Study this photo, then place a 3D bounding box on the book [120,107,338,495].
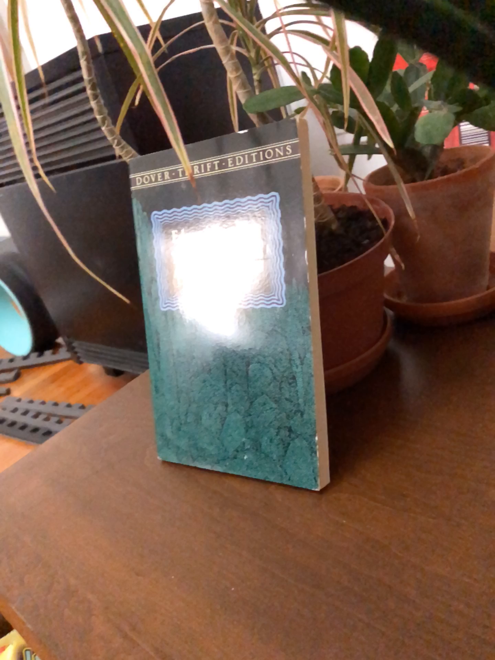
[{"bbox_3d":[-0.016,-0.014,0.345,0.140,0.210,0.020,0,6,36],"label":"book"}]
